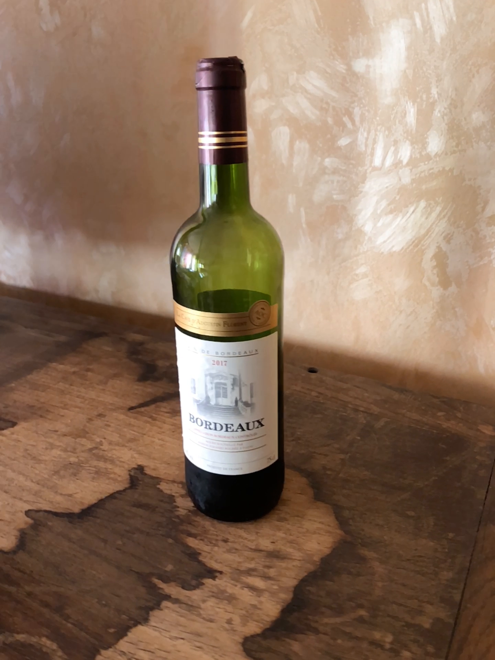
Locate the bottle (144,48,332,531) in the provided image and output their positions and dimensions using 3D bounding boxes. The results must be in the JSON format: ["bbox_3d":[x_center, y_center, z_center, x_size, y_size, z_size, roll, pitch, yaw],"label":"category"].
[{"bbox_3d":[-0.002,-0.016,0.352,0.090,0.289,0.080,2,22,4],"label":"bottle"}]
